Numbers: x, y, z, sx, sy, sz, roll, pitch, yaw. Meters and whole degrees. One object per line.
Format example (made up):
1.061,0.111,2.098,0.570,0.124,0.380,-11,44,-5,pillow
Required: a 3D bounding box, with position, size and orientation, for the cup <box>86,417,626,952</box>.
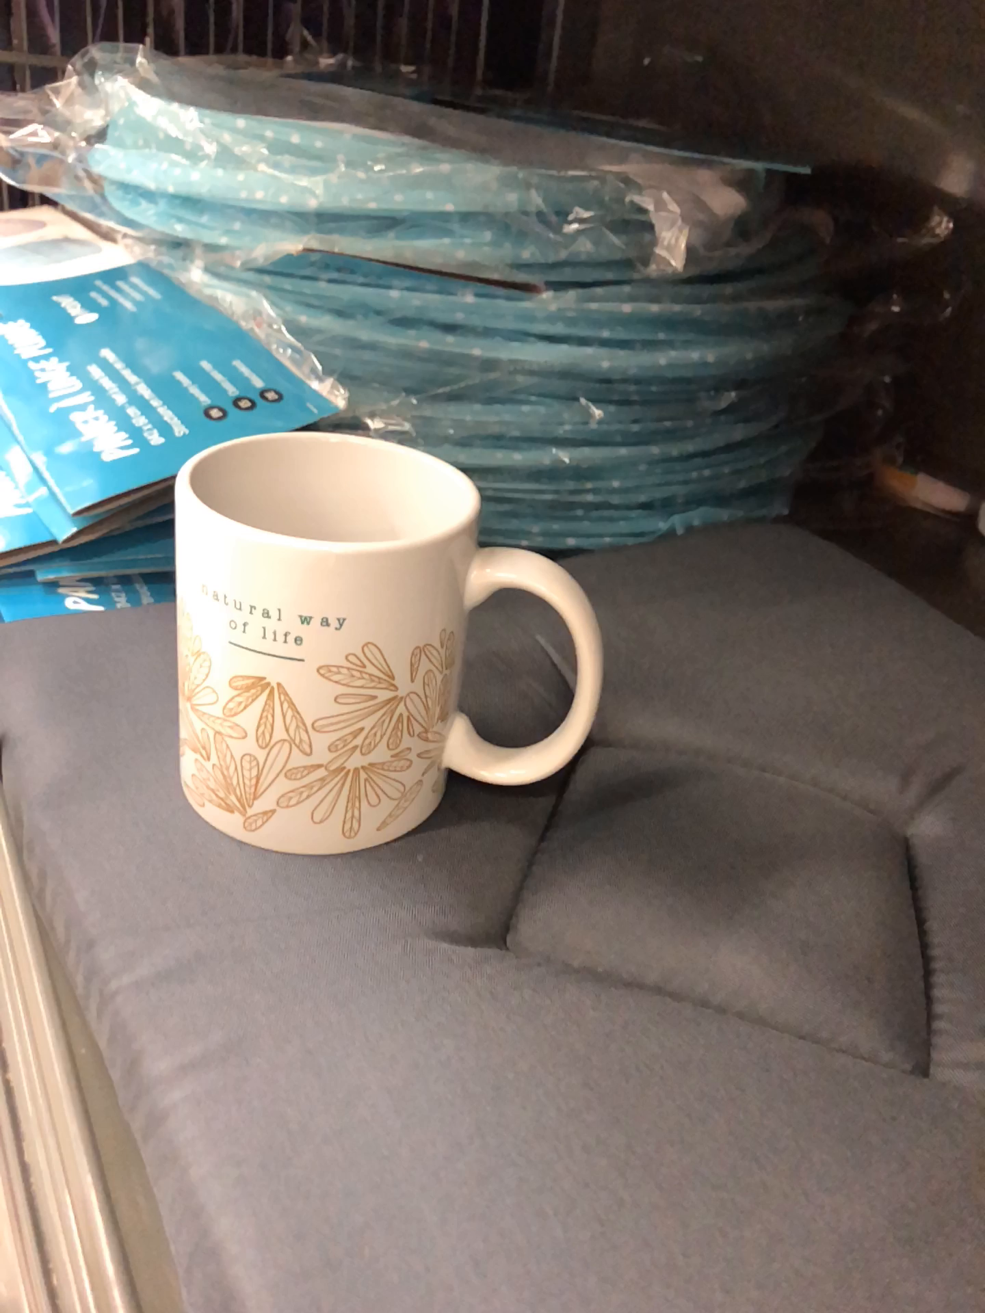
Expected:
-0.035,0.002,0.314,0.120,0.099,0.091,13,28,8,cup
